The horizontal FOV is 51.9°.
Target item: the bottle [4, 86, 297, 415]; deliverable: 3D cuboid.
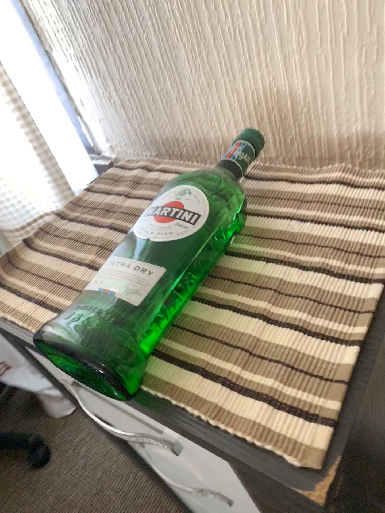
[{"bbox_3d":[-0.009,-0.036,0.359,0.091,0.069,0.321,11,53,34],"label":"bottle"}]
